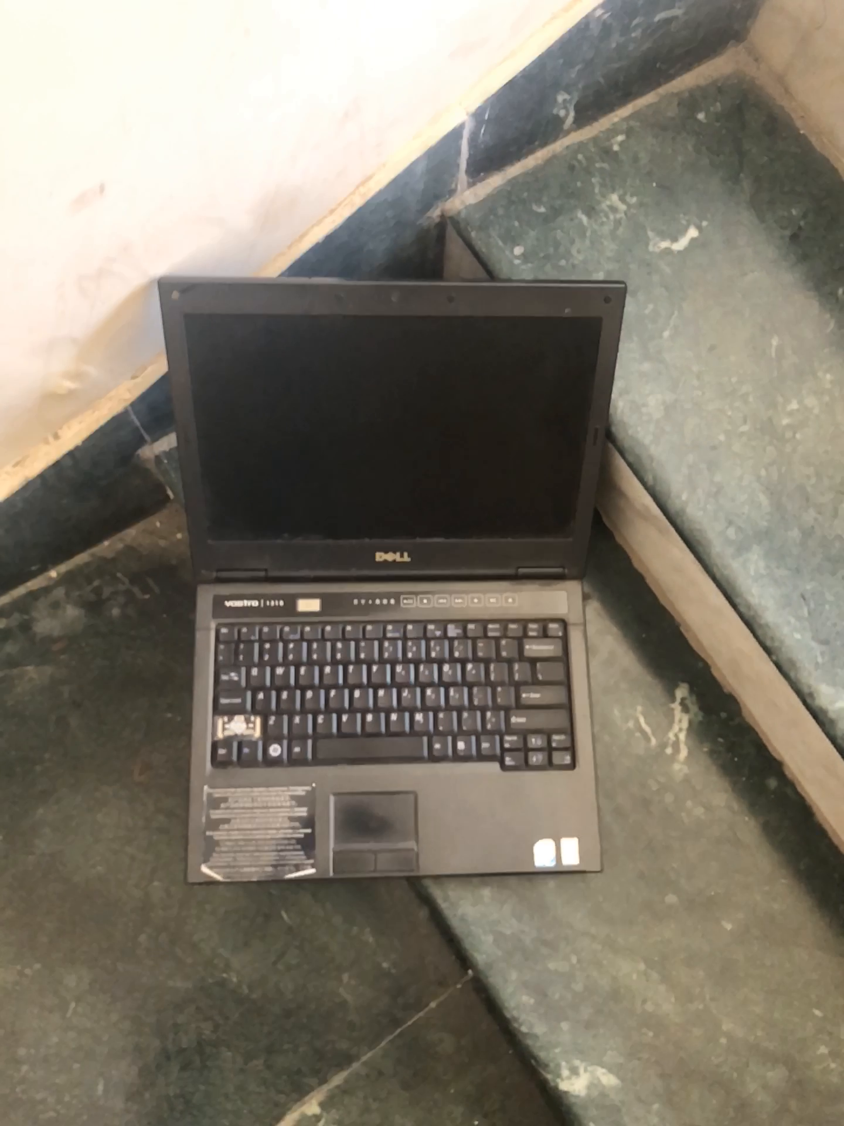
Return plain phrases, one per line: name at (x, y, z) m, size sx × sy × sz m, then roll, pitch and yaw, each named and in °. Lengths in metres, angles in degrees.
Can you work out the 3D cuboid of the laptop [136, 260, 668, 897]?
laptop at (-0.018, 0.015, 0.648) m, size 0.301 × 0.169 × 0.386 m, roll 0°, pitch 78°, yaw -4°
